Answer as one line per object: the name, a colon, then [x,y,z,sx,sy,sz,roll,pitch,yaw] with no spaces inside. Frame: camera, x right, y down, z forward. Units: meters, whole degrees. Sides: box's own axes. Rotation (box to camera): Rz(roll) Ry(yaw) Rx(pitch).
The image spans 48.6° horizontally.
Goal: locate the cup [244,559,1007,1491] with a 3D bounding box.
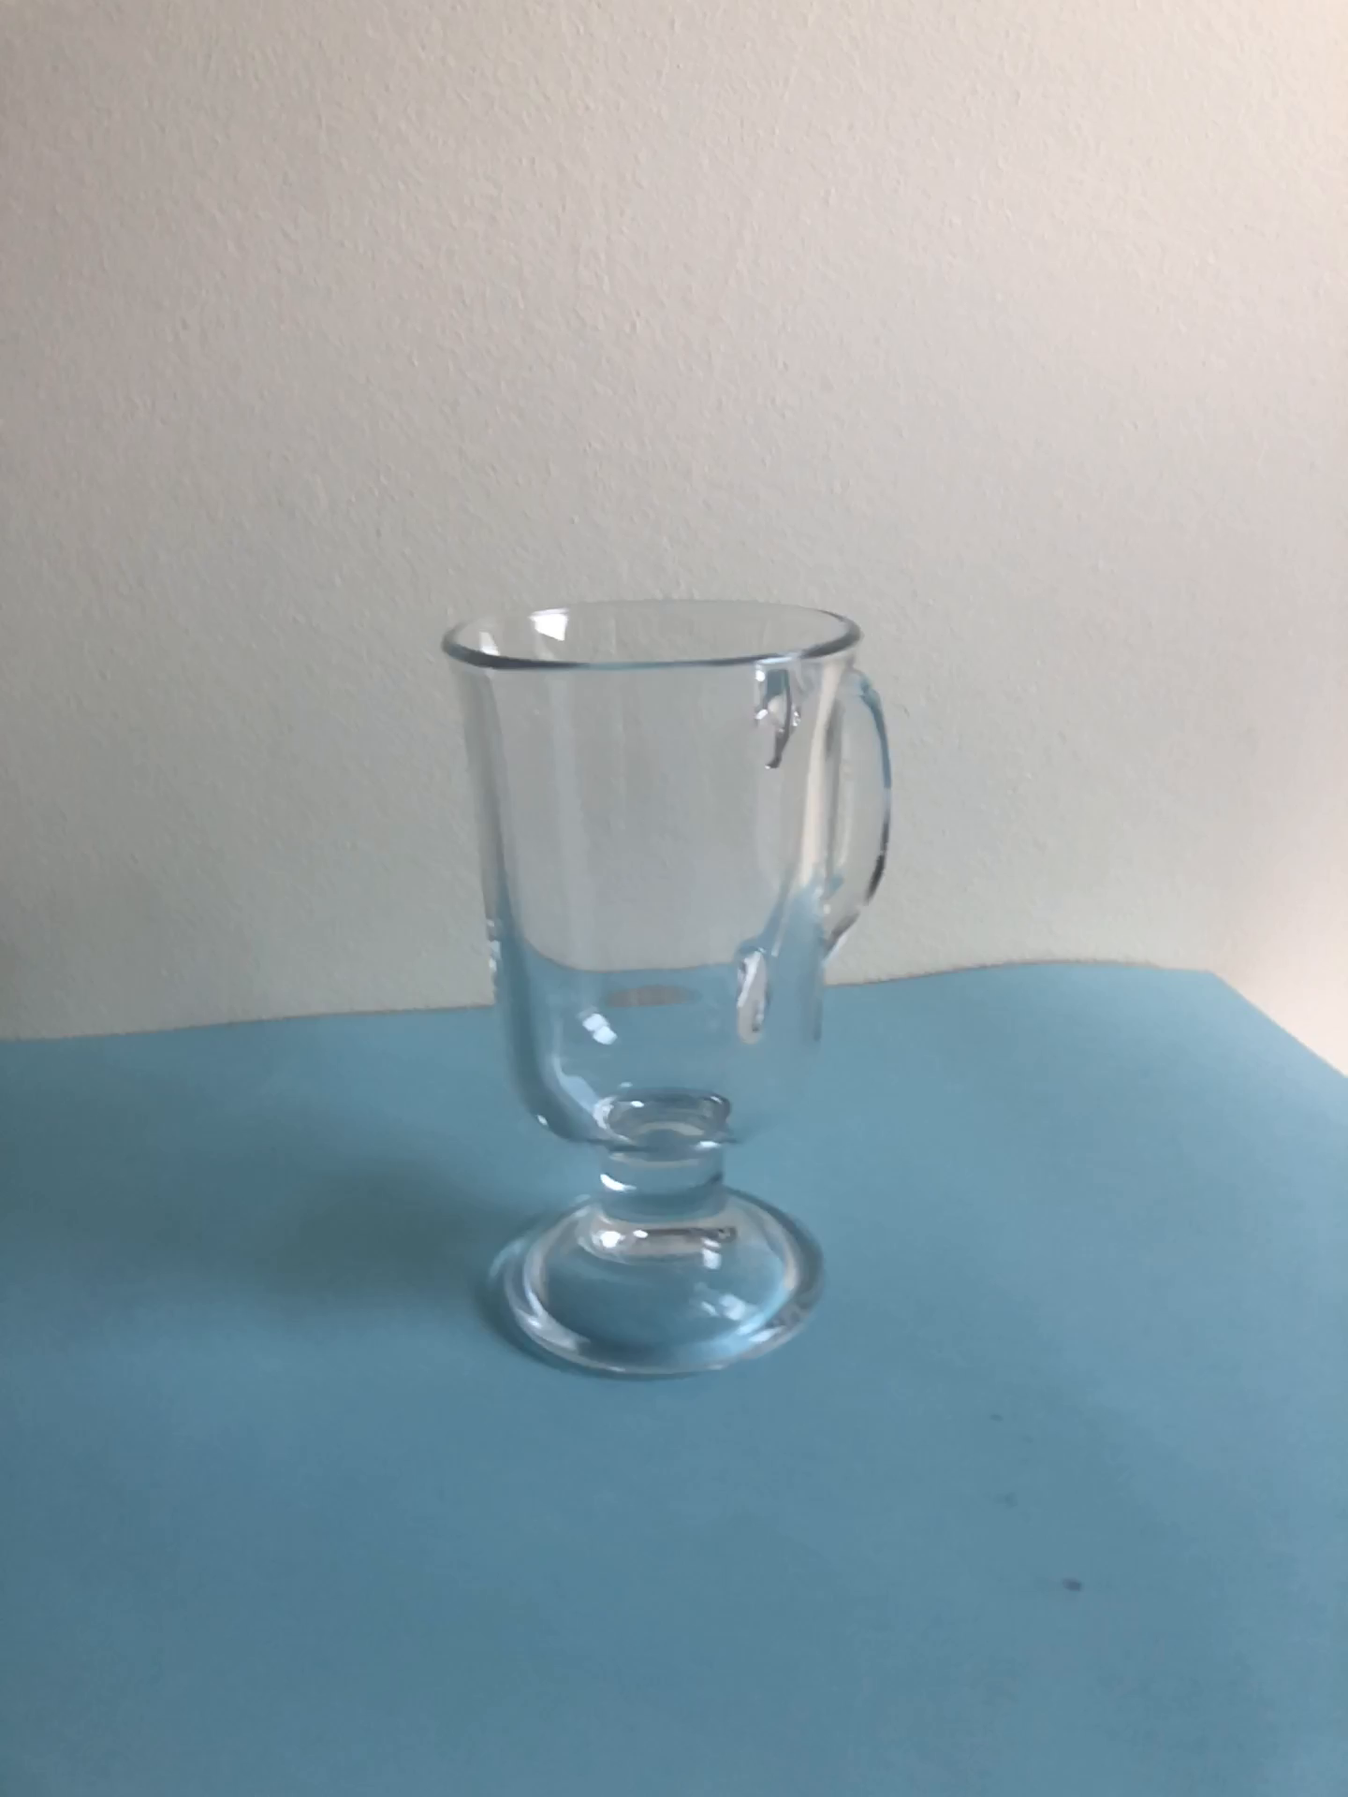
cup: [-0.004,0.010,0.257,0.100,0.119,0.070,-19,25,-40]
